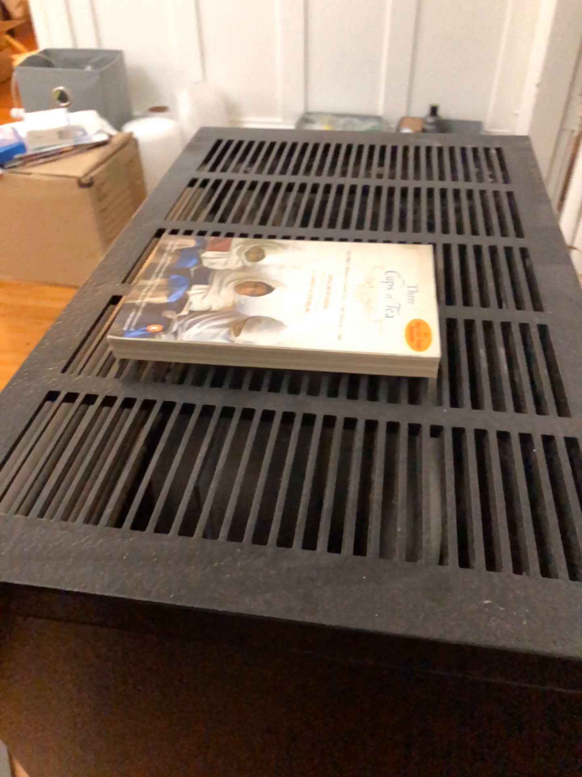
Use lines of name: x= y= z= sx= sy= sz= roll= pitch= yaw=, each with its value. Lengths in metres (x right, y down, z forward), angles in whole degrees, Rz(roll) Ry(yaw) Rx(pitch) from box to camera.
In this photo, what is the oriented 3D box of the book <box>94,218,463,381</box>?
book: x=-0.003 y=-0.068 z=0.445 sx=0.220 sy=0.030 sz=0.141 roll=4 pitch=40 yaw=5
